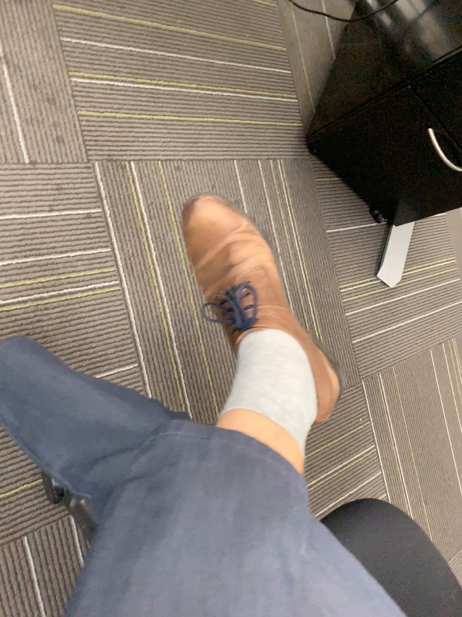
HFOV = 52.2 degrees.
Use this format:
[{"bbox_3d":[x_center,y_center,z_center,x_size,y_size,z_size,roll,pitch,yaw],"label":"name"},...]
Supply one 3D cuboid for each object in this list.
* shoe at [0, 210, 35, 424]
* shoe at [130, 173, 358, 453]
[{"bbox_3d":[-0.407,0.014,0.680,0.112,0.068,0.276,-30,101,-35],"label":"shoe"},{"bbox_3d":[0.022,0.007,0.546,0.294,0.114,0.082,60,26,-7],"label":"shoe"}]
